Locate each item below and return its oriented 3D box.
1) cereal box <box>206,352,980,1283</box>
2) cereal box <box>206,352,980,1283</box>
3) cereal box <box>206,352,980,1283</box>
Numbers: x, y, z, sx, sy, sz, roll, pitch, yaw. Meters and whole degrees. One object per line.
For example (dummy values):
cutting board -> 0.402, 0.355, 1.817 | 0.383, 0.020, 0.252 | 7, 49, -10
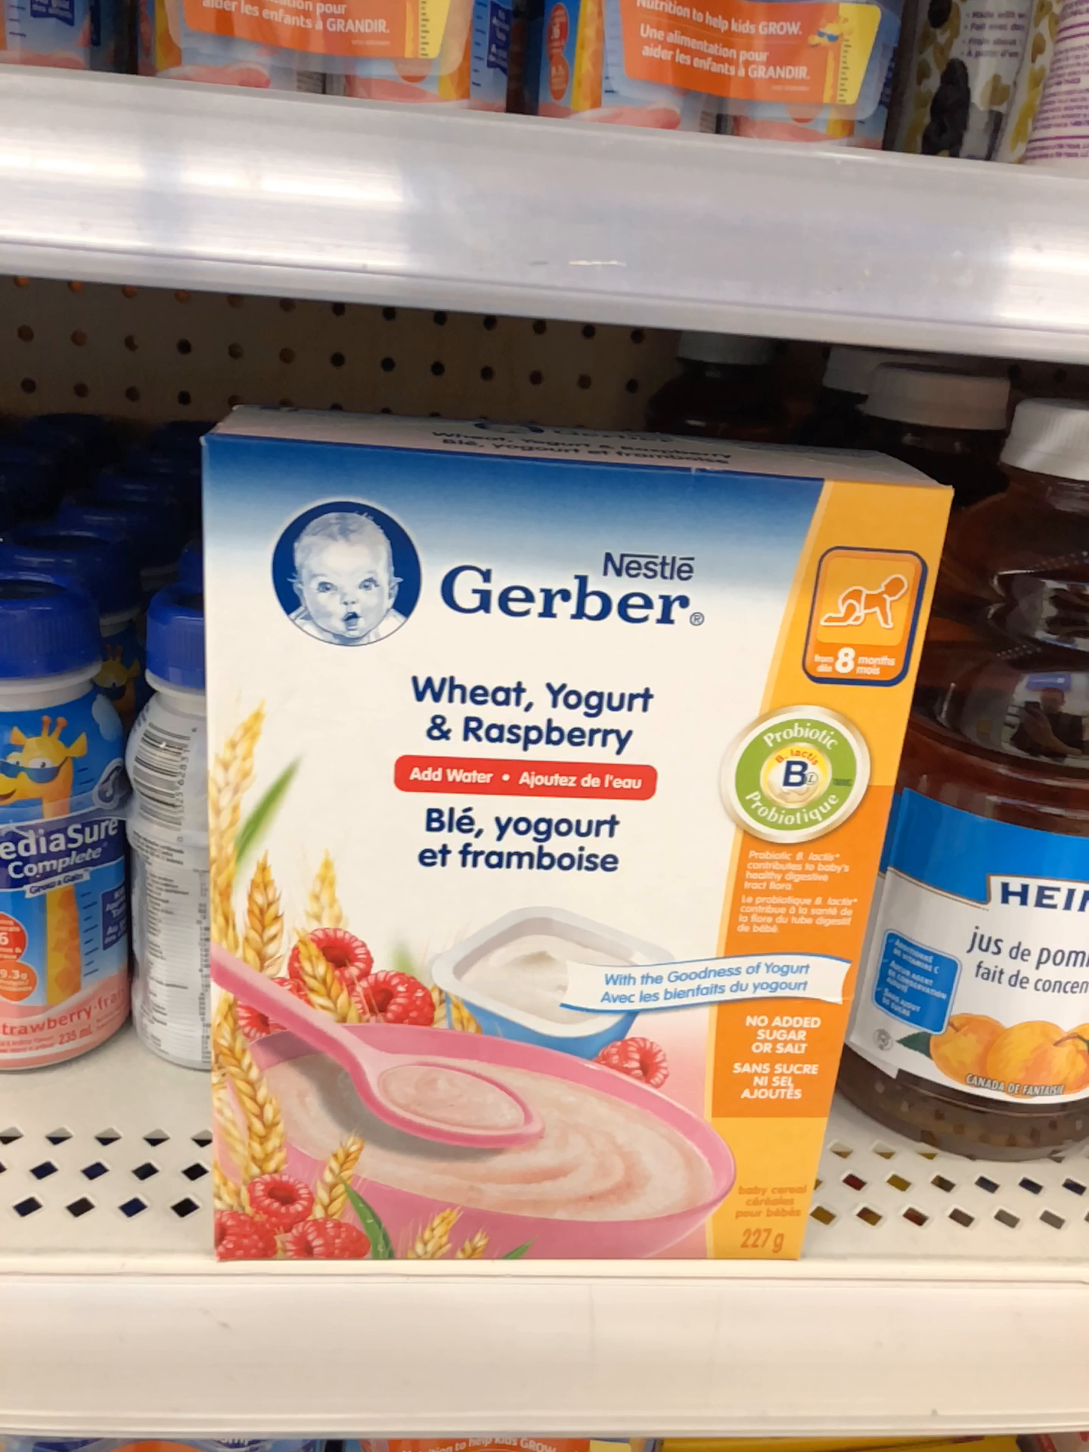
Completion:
cereal box -> 0.000, 0.027, 0.274 | 0.140, 0.199, 0.050 | 4, 19, -6
cereal box -> 0.000, 0.027, 0.274 | 0.140, 0.199, 0.050 | 4, 19, -6
cereal box -> 0.000, 0.027, 0.274 | 0.140, 0.199, 0.050 | 4, 19, -6
